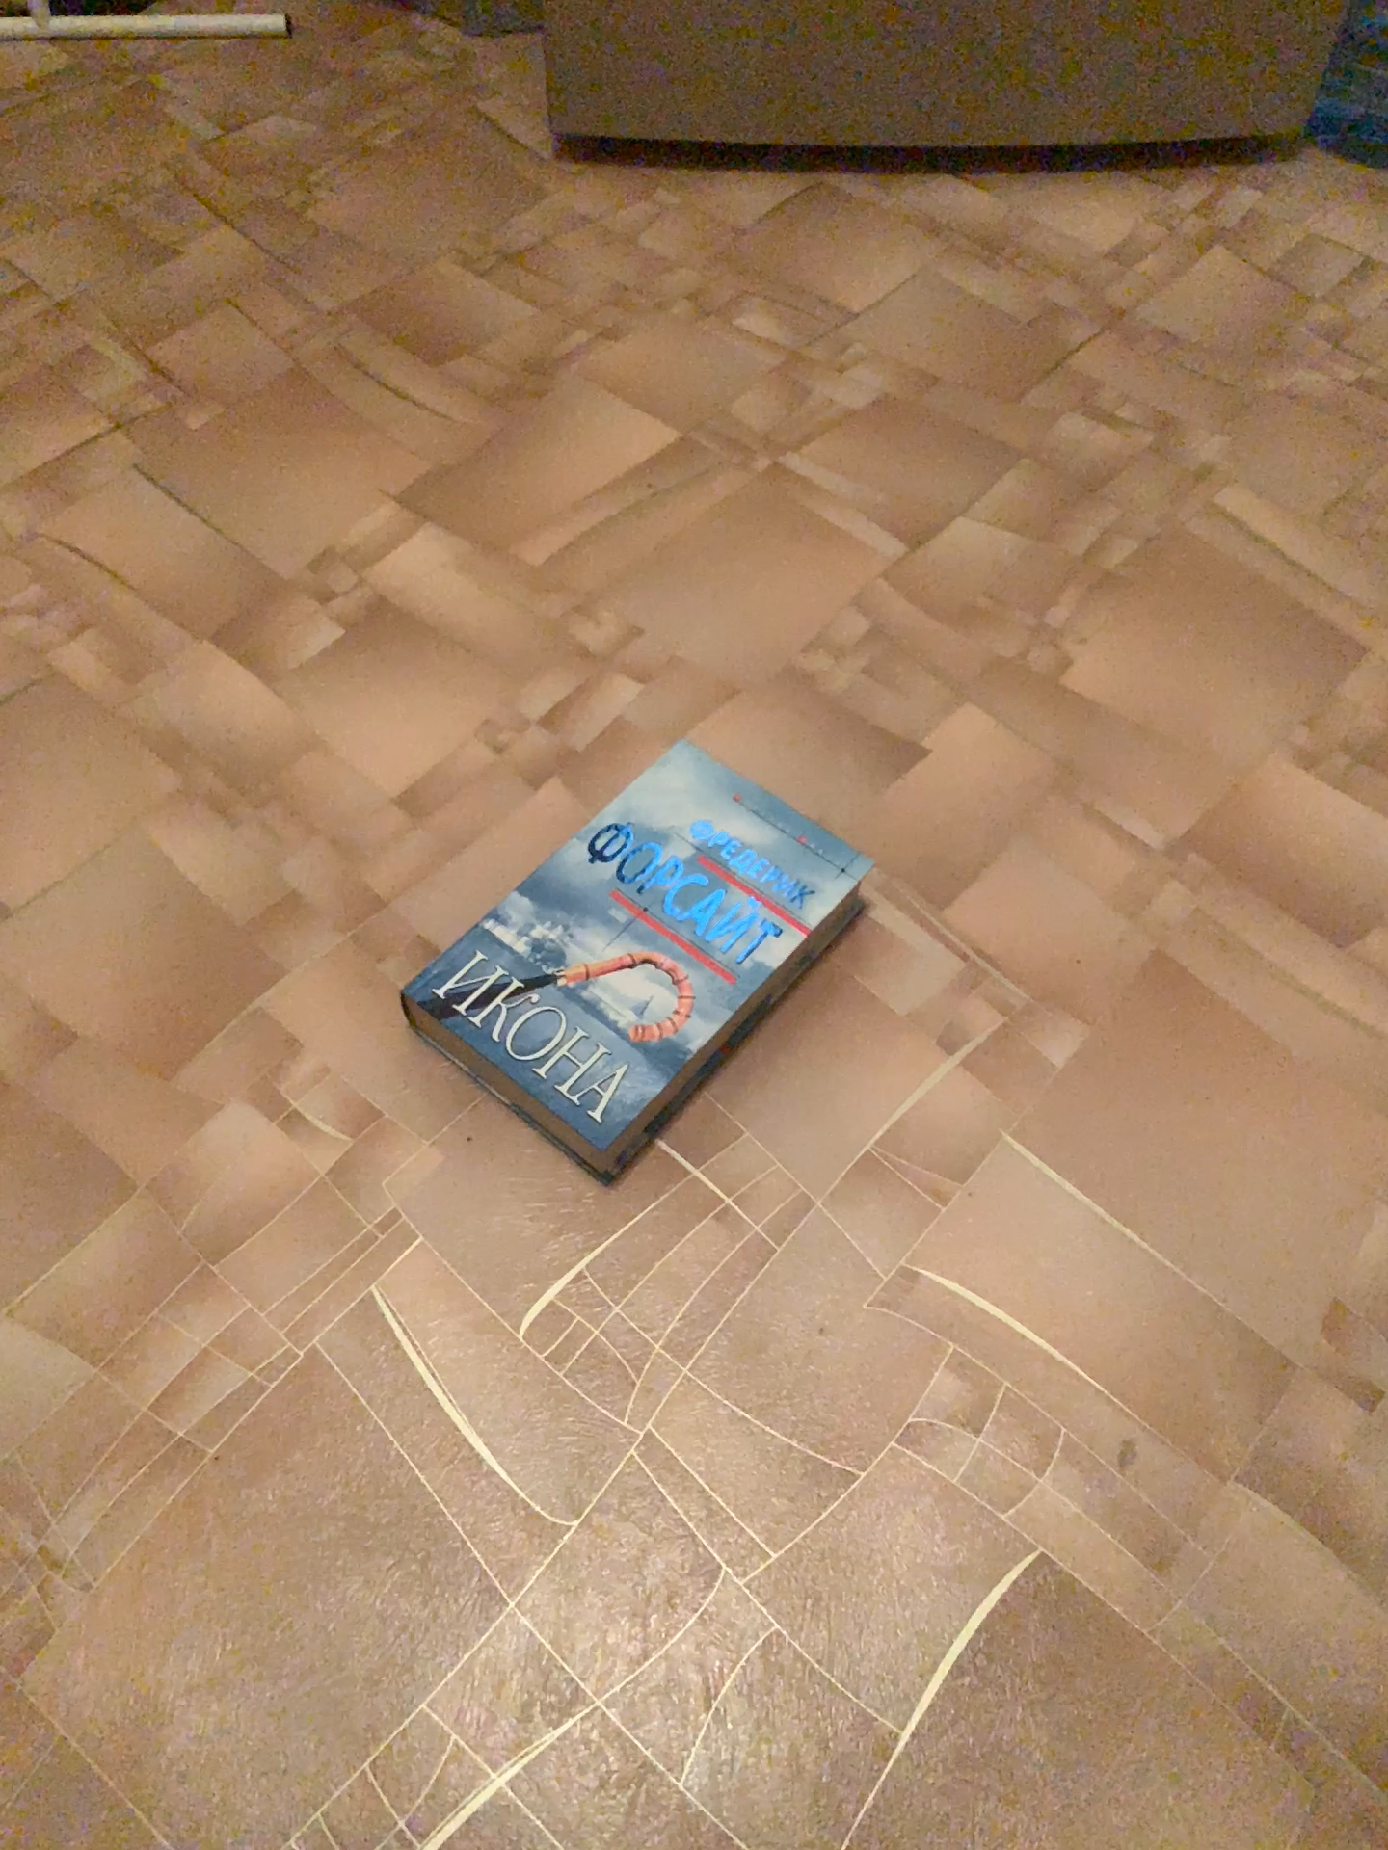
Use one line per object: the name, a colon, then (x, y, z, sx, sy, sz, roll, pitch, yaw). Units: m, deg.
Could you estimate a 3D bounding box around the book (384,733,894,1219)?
book: (-0.025, 0.018, 0.755, 0.153, 0.056, 0.224, 36, 64, 22)
